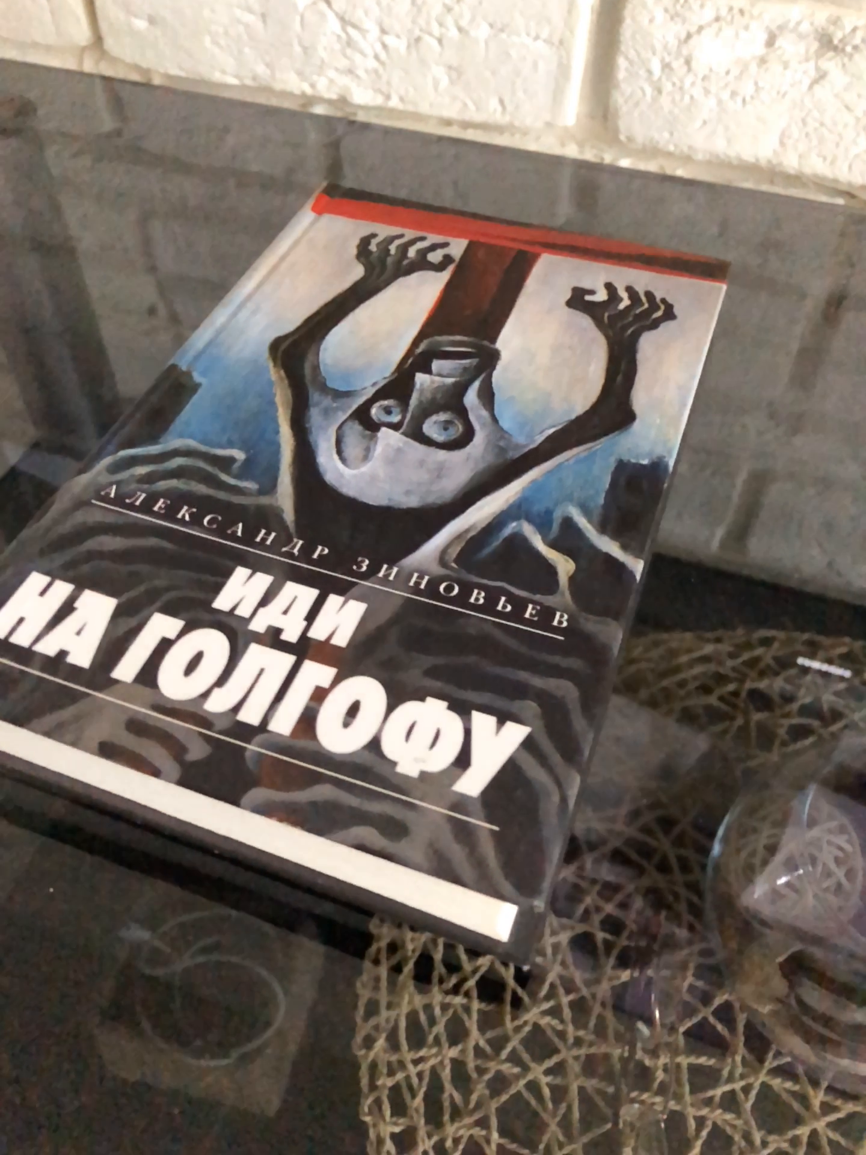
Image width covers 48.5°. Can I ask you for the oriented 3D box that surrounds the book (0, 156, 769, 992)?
[{"bbox_3d":[-0.010,-0.030,0.229,0.140,0.030,0.201,17,51,14],"label":"book"}]
